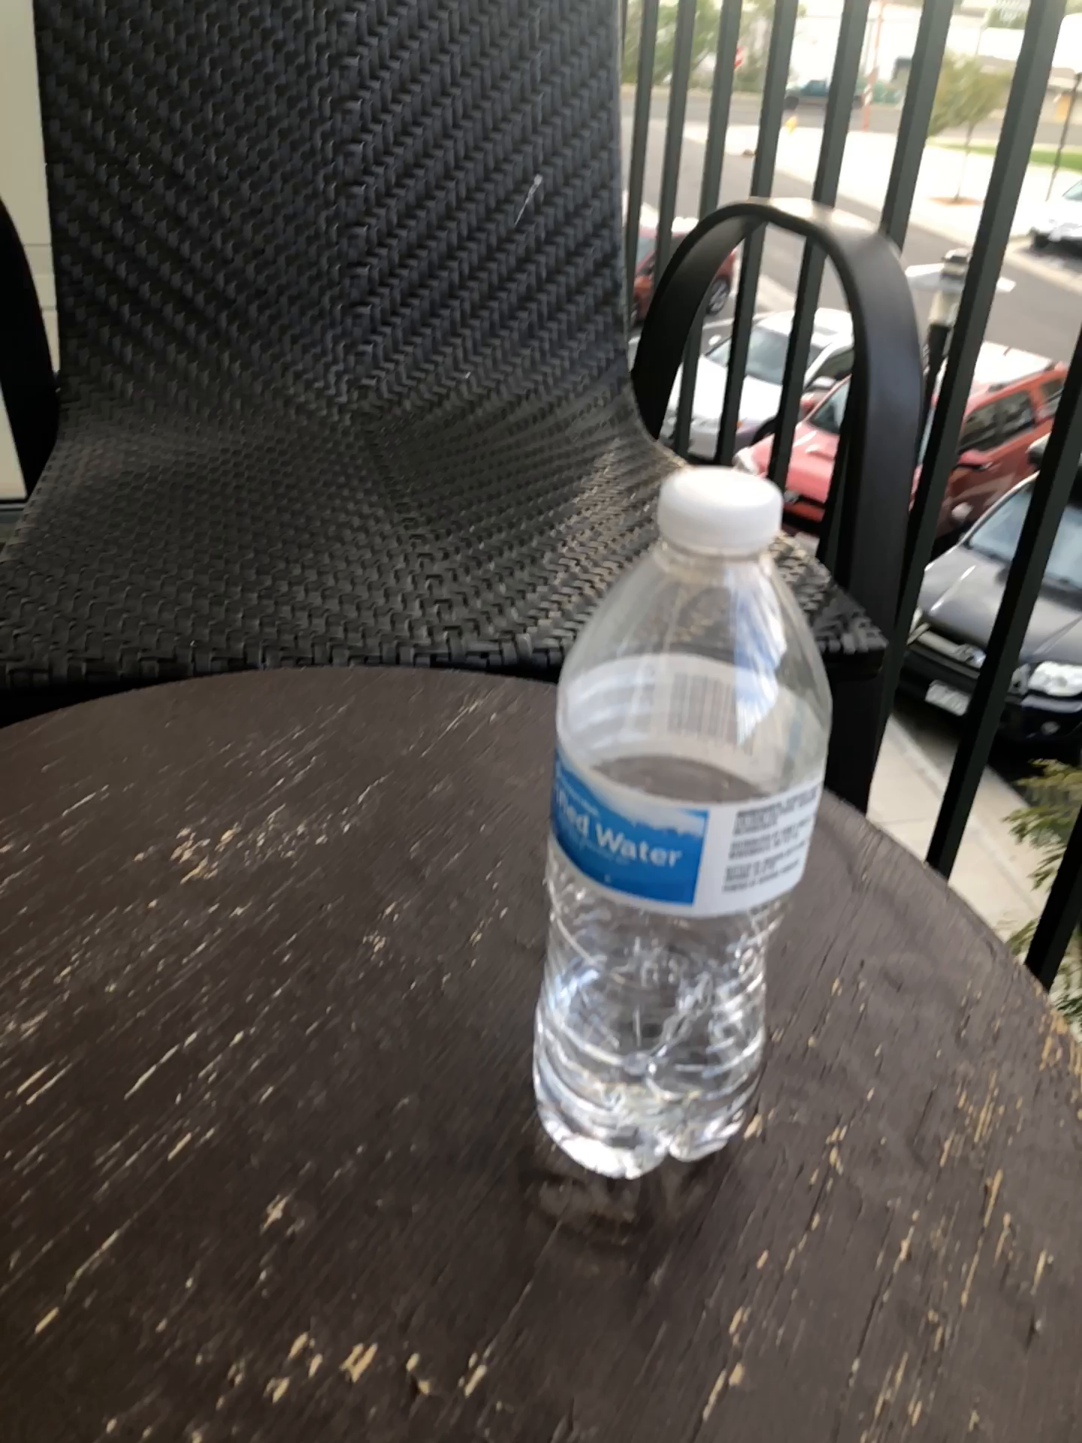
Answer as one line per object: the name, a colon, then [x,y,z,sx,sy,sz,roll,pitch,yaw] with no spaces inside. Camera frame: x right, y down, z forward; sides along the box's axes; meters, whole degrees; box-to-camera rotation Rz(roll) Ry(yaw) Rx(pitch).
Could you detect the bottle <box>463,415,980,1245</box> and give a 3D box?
bottle: [0.035,0.030,0.308,0.080,0.189,0.075,2,32,-2]
